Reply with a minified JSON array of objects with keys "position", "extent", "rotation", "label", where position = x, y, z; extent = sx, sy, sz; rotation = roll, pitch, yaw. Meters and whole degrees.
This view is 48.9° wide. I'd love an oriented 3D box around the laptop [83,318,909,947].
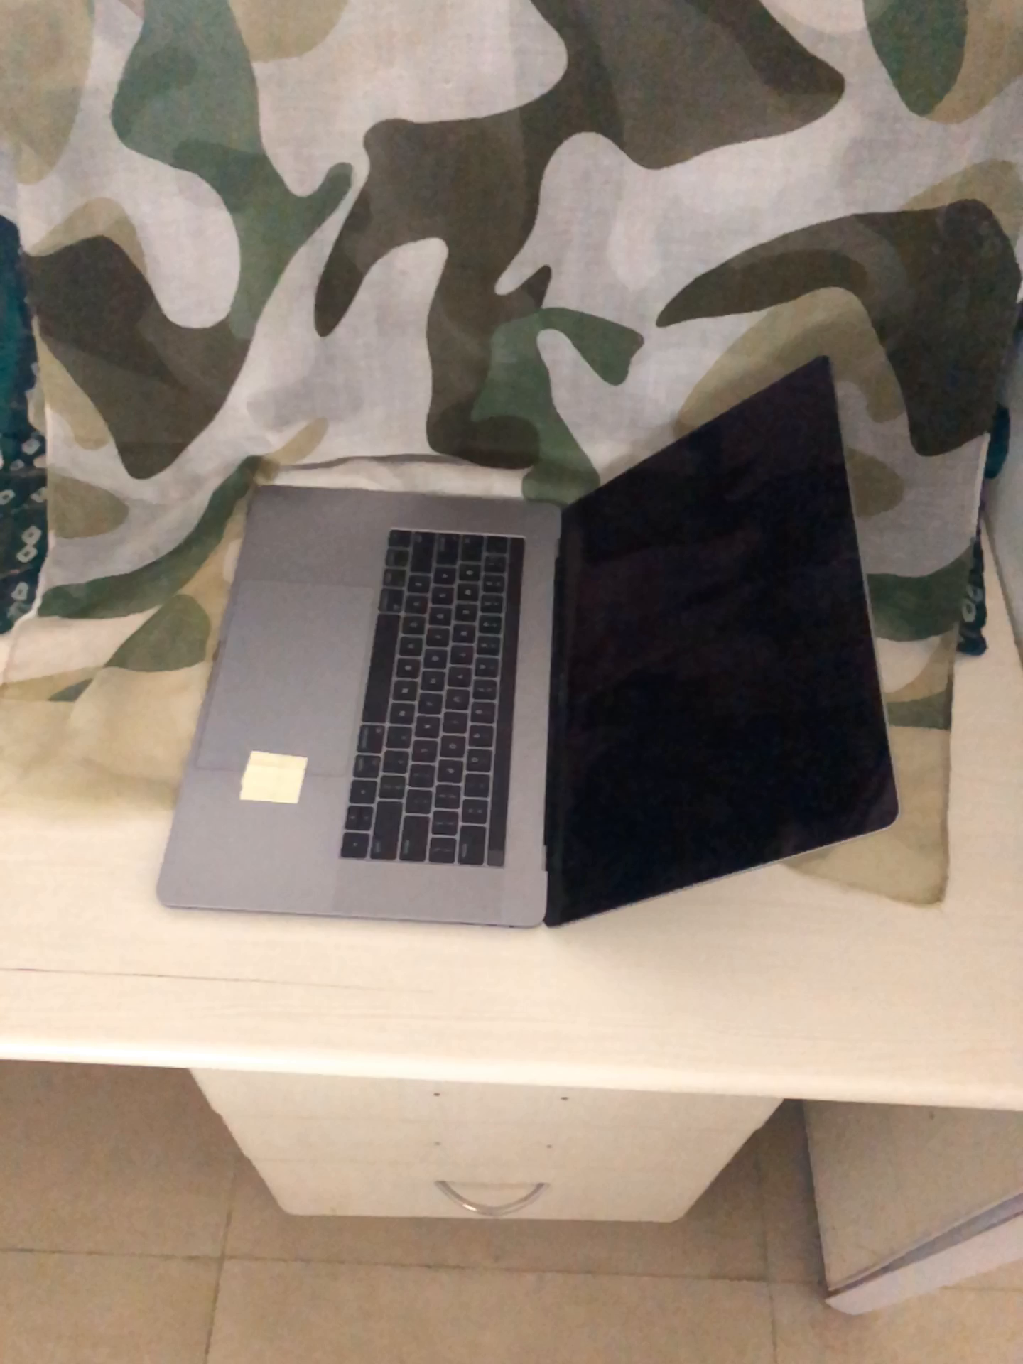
[{"position":[-0.004,-0.042,0.713],"extent":[0.402,0.165,0.343],"rotation":[3,55,1],"label":"laptop"}]
